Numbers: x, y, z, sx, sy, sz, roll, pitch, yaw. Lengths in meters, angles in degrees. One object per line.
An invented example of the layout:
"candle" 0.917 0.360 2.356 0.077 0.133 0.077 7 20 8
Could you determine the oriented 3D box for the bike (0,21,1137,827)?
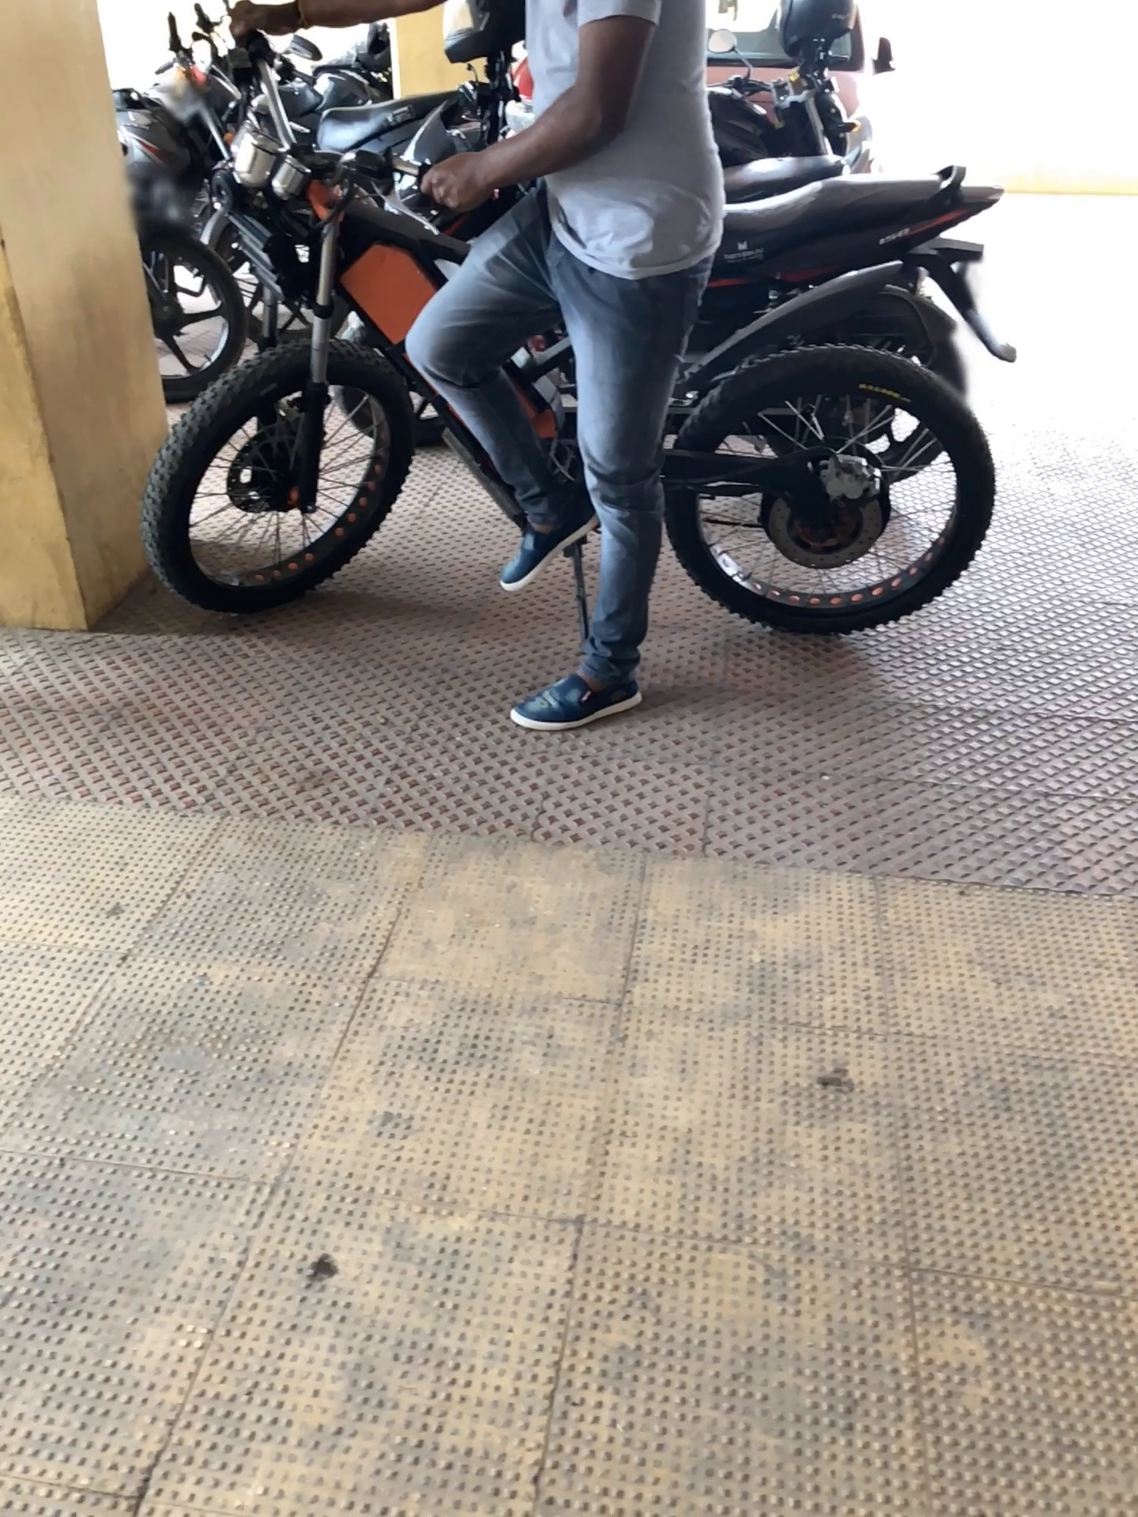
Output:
"bike" -0.042 -0.632 2.415 1.745 1.184 0.759 -2 31 4
